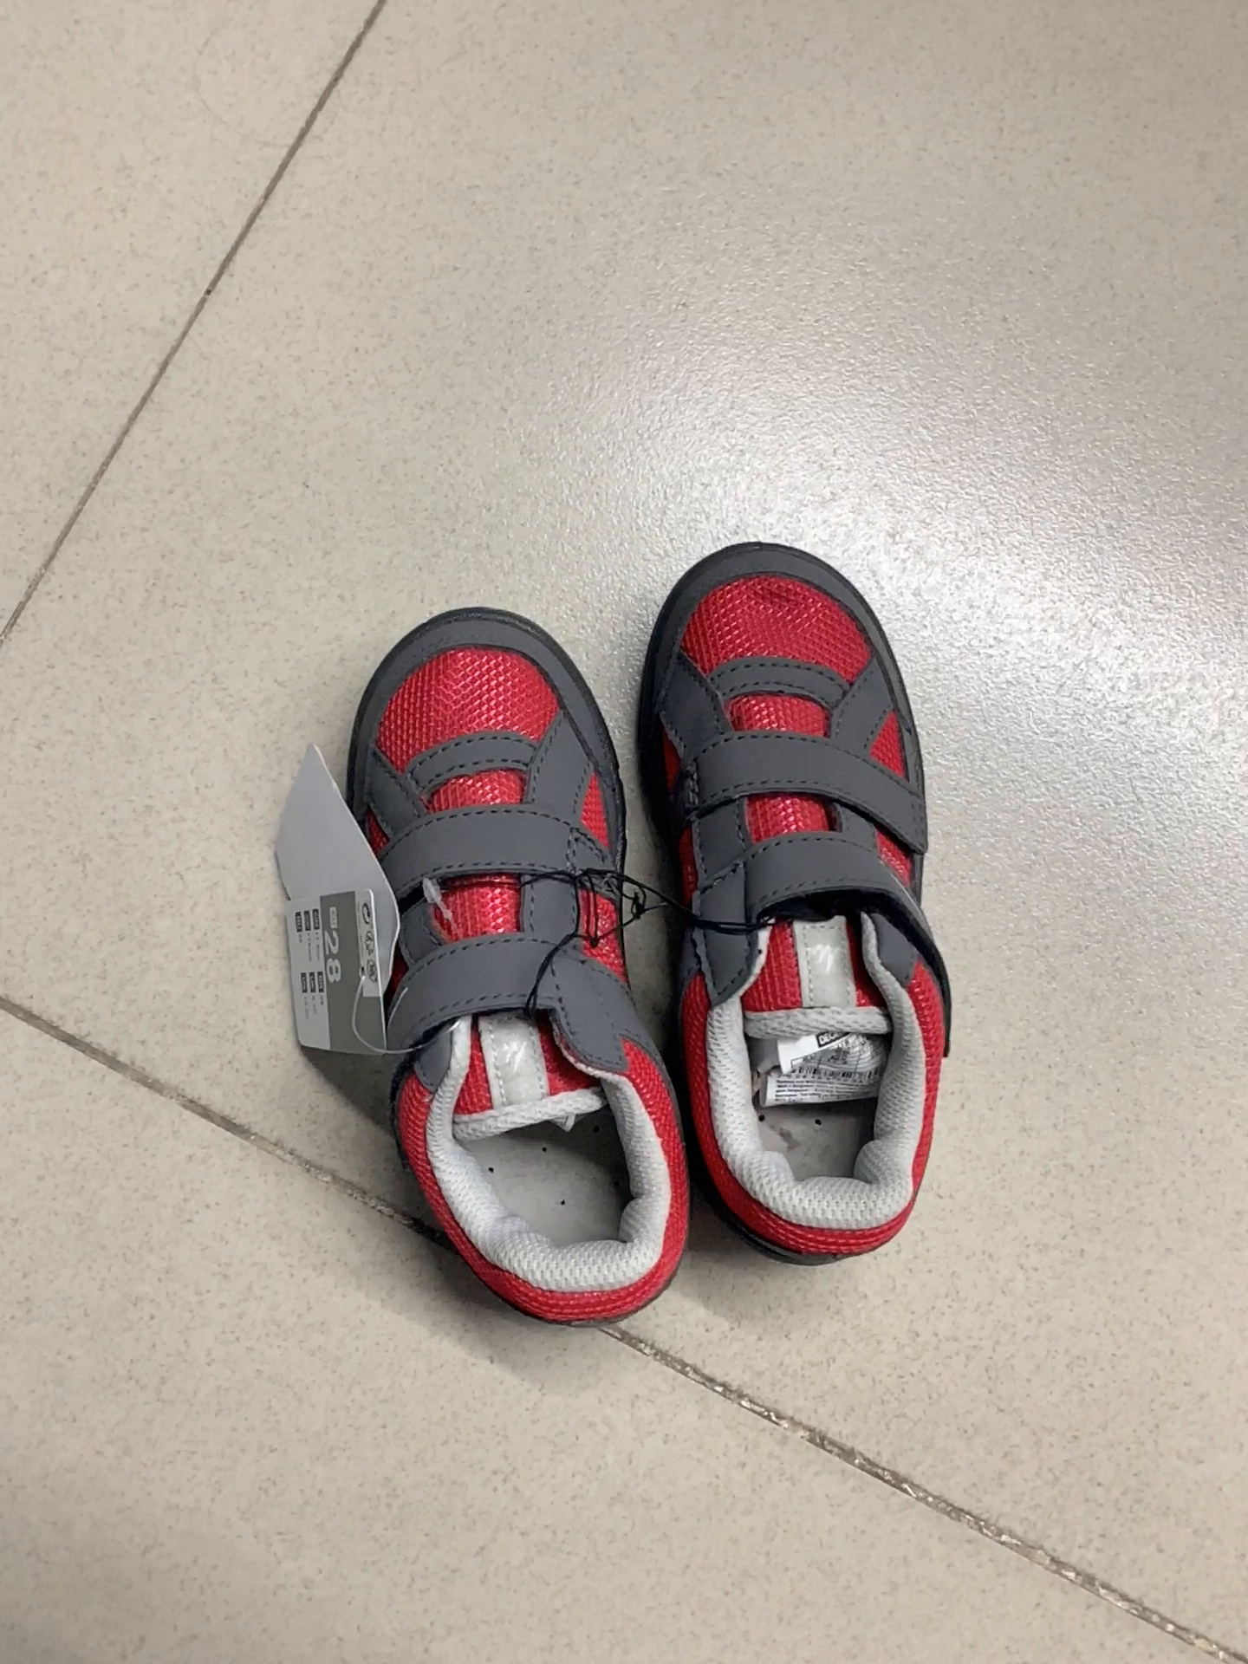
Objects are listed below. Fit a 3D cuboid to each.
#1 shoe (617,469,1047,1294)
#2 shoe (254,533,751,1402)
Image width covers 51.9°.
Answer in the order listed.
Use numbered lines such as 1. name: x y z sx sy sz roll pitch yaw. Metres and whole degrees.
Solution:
1. shoe: 0.048 0.013 0.344 0.080 0.080 0.190 -5 84 -2
2. shoe: -0.029 0.031 0.324 0.080 0.080 0.180 -10 84 -3
